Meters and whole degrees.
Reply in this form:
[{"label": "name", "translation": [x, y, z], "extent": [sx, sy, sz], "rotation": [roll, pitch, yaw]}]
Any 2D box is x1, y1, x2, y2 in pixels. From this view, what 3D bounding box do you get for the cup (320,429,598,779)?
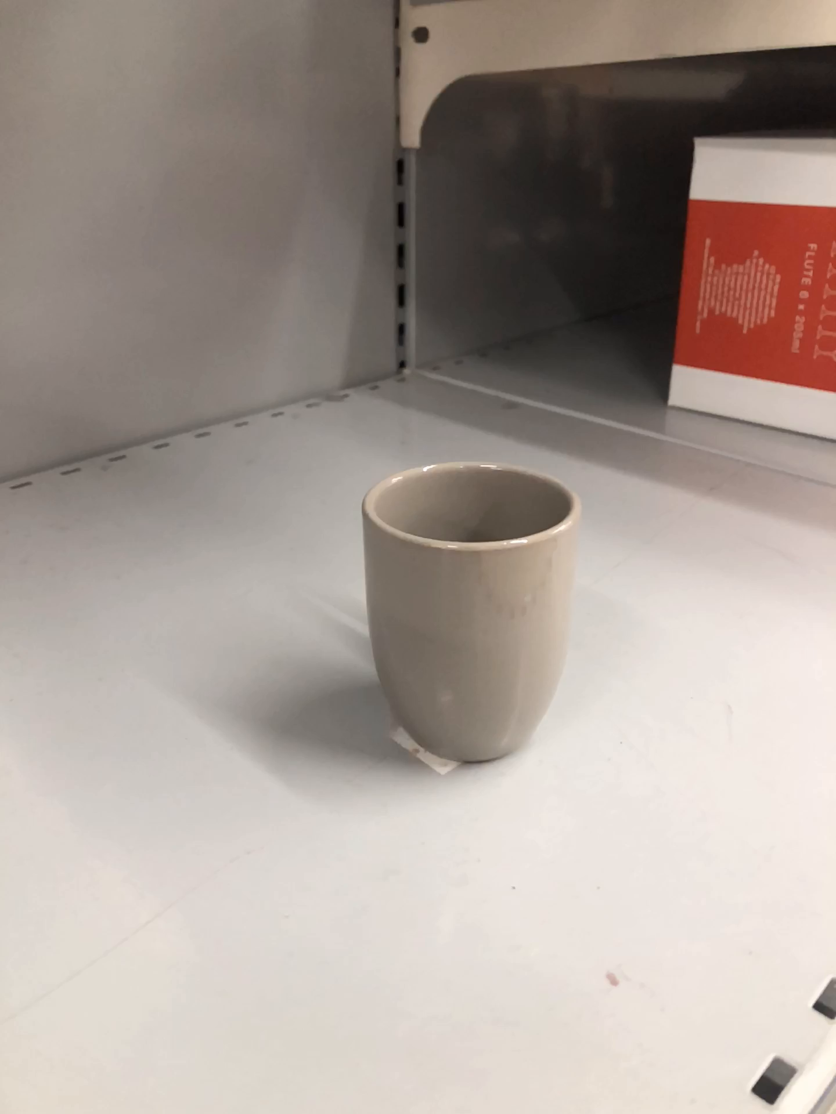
[{"label": "cup", "translation": [0.012, 0.008, 0.269], "extent": [0.064, 0.062, 0.092], "rotation": [1, 27, 3]}]
